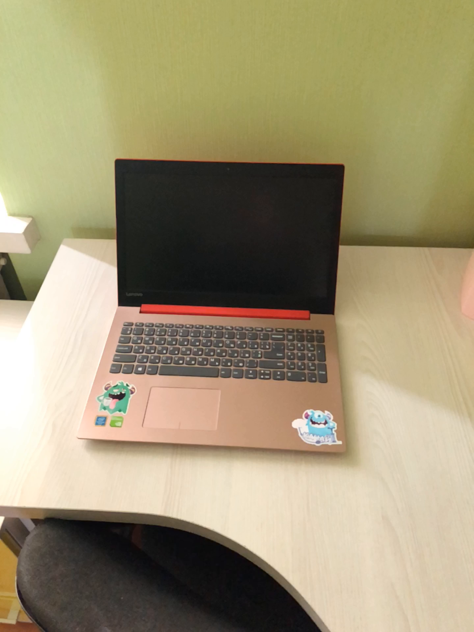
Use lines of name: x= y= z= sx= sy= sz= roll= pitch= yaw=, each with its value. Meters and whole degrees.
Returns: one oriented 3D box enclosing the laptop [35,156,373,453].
laptop: x=-0.027 y=-0.039 z=0.785 sx=0.375 sy=0.198 sz=0.403 roll=2 pitch=47 yaw=3
